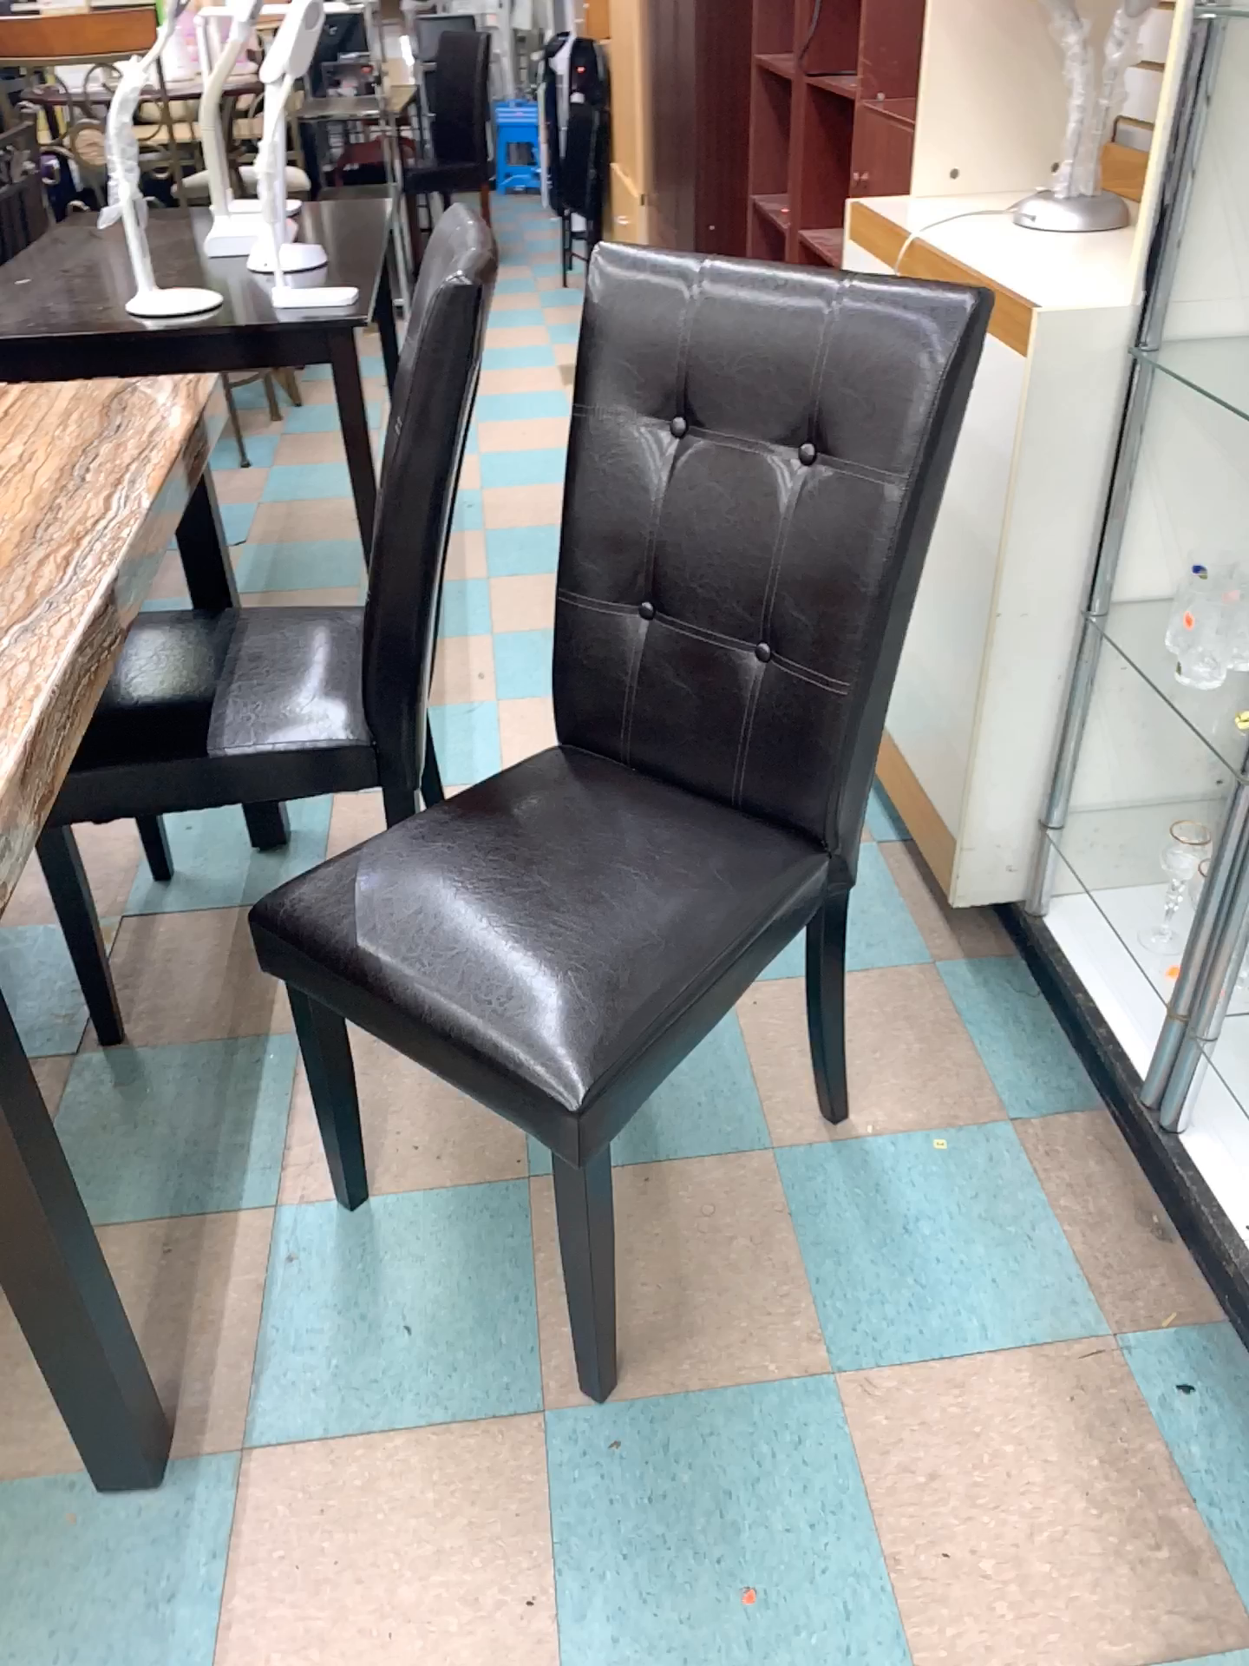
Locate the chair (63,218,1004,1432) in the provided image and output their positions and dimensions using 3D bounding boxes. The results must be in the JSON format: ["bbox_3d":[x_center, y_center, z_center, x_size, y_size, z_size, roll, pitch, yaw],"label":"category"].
[{"bbox_3d":[-0.041,-0.024,1.259,0.485,0.949,0.556,24,43,33],"label":"chair"}]
